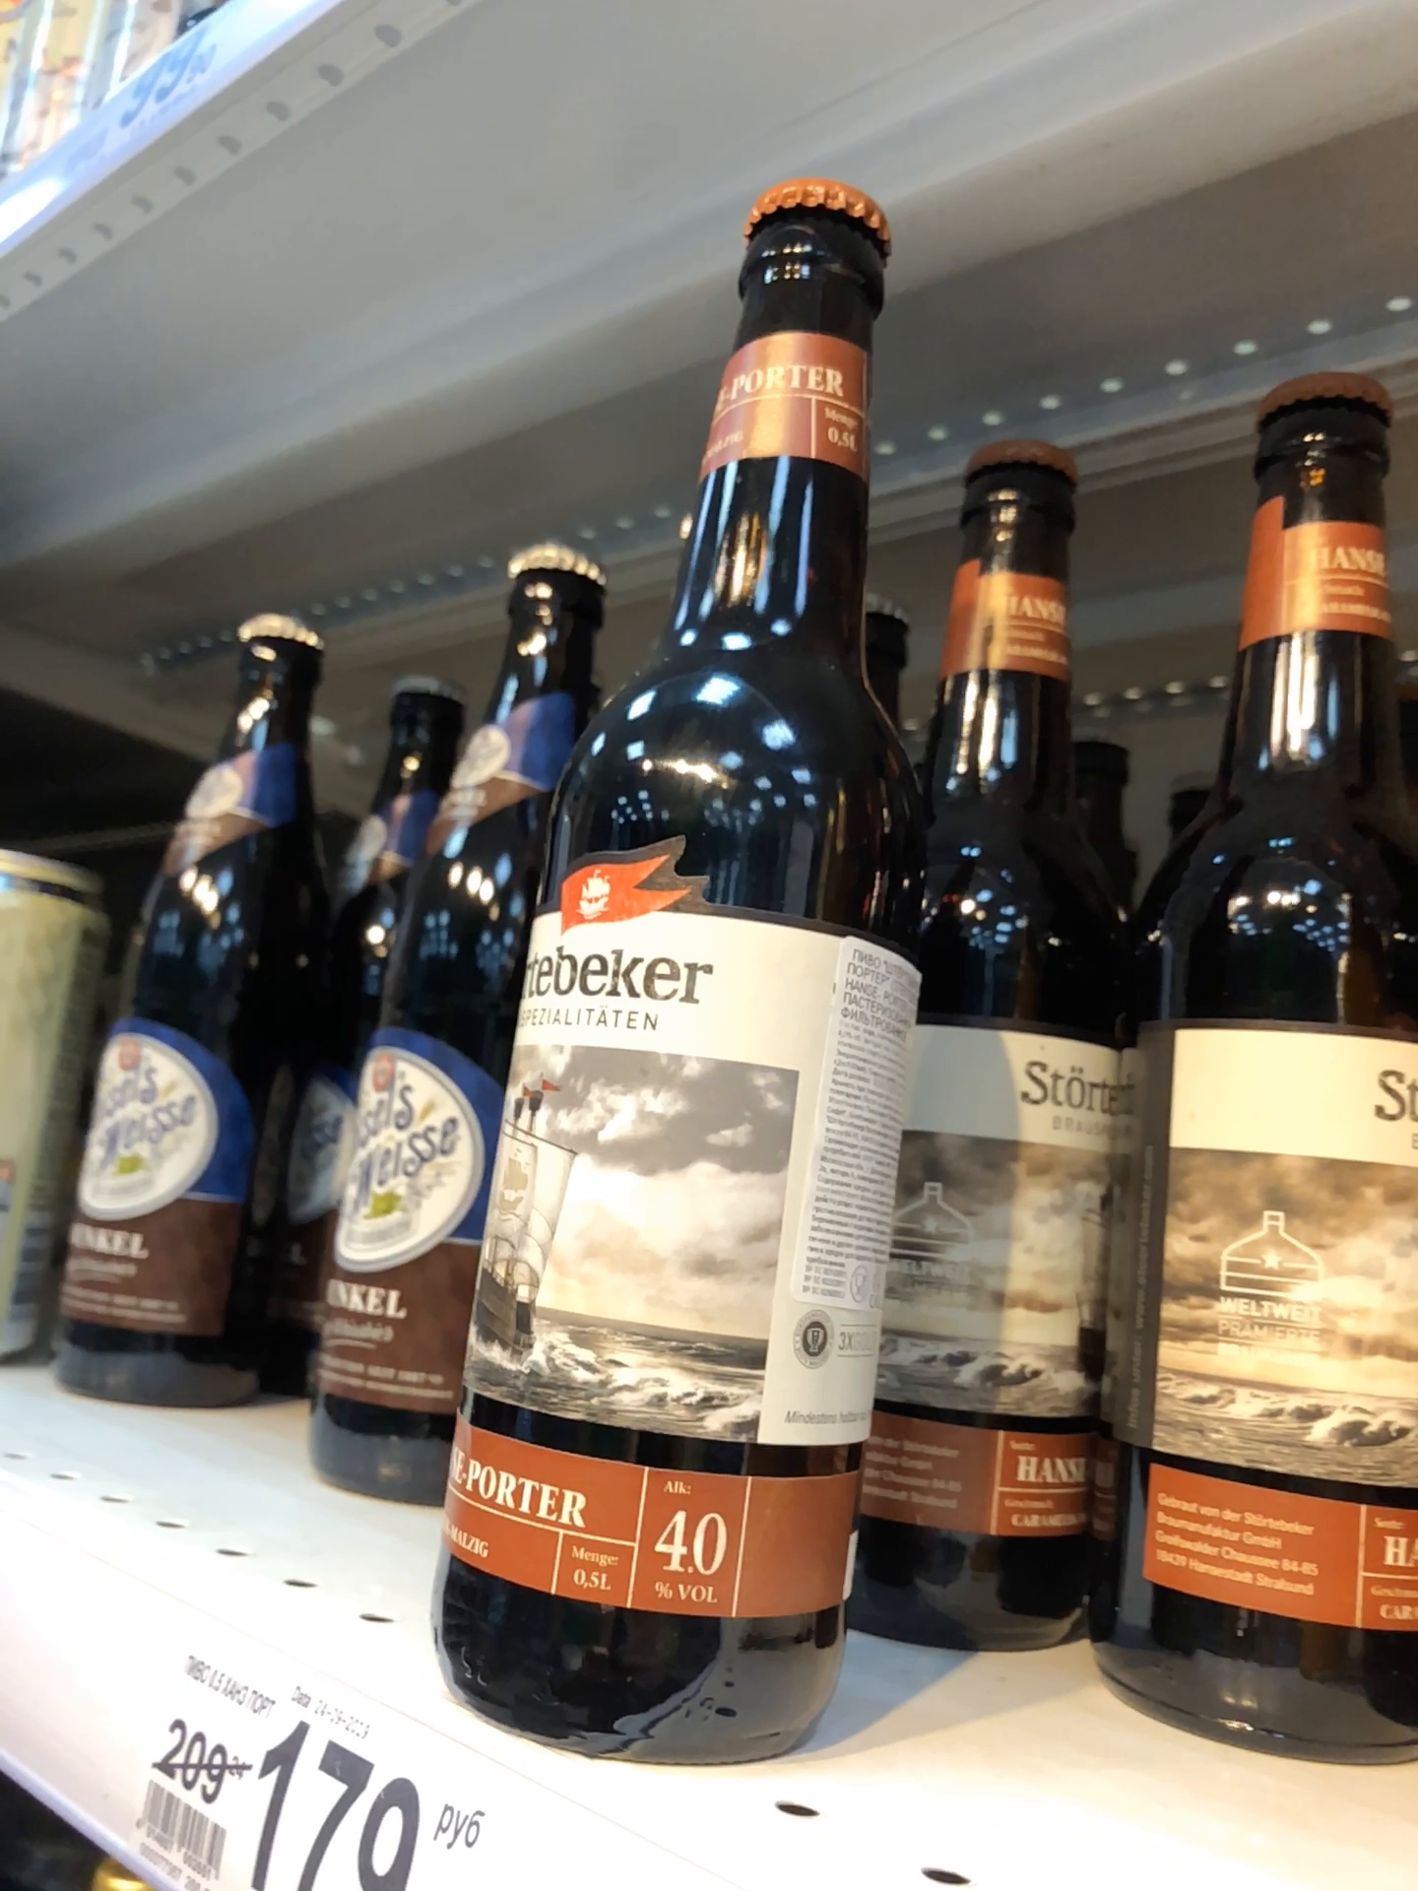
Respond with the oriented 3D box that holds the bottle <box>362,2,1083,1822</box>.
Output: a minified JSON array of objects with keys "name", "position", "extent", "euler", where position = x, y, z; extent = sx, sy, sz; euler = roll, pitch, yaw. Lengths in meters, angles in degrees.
[{"name":"bottle","position":[0.007,-0.011,0.287],"extent":[0.070,0.281,0.070],"euler":[7,-9,1]}]
